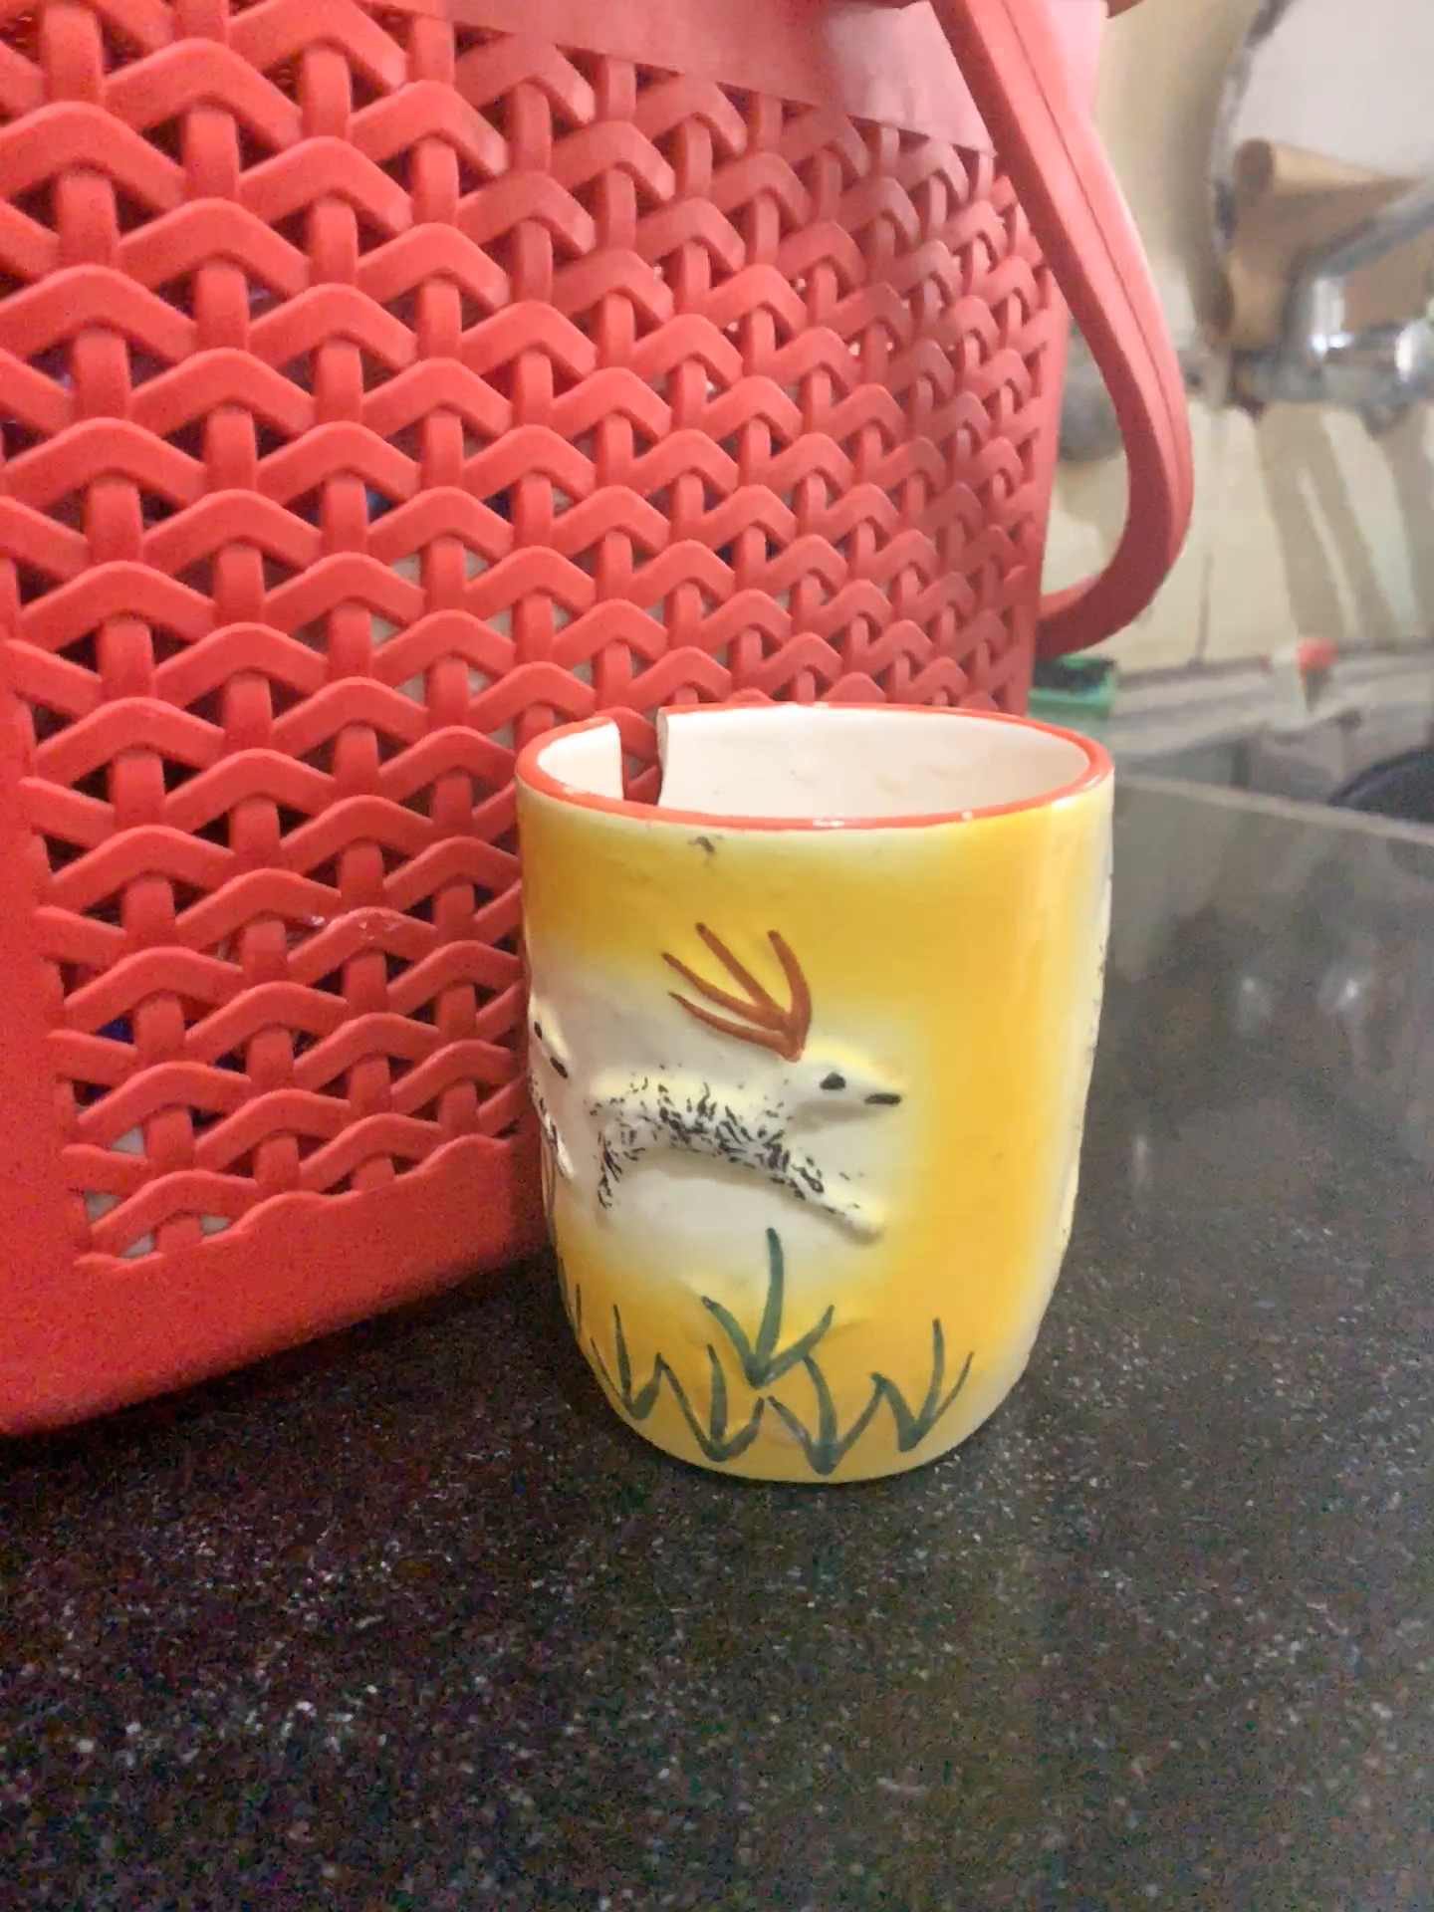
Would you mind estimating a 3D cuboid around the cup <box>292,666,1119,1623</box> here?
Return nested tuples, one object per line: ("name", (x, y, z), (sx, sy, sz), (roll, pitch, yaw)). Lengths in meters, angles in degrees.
("cup", (-0.001, 0.015, 0.219), (0.080, 0.099, 0.080), (0, 17, 0))
